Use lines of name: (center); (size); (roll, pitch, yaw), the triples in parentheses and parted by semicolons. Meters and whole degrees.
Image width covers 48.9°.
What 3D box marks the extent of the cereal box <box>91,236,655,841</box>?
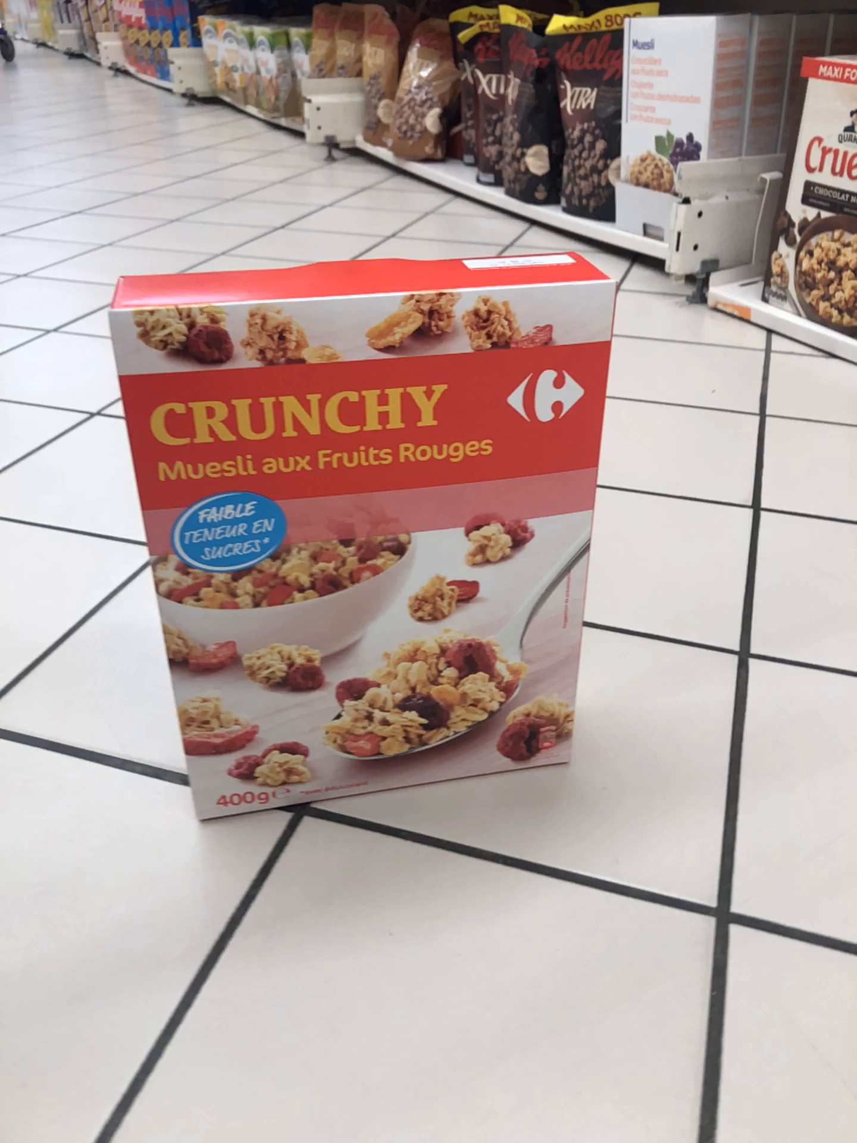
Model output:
cereal box: (-0.020, -0.009, 0.418); (0.200, 0.249, 0.060); (-7, 31, -11)
